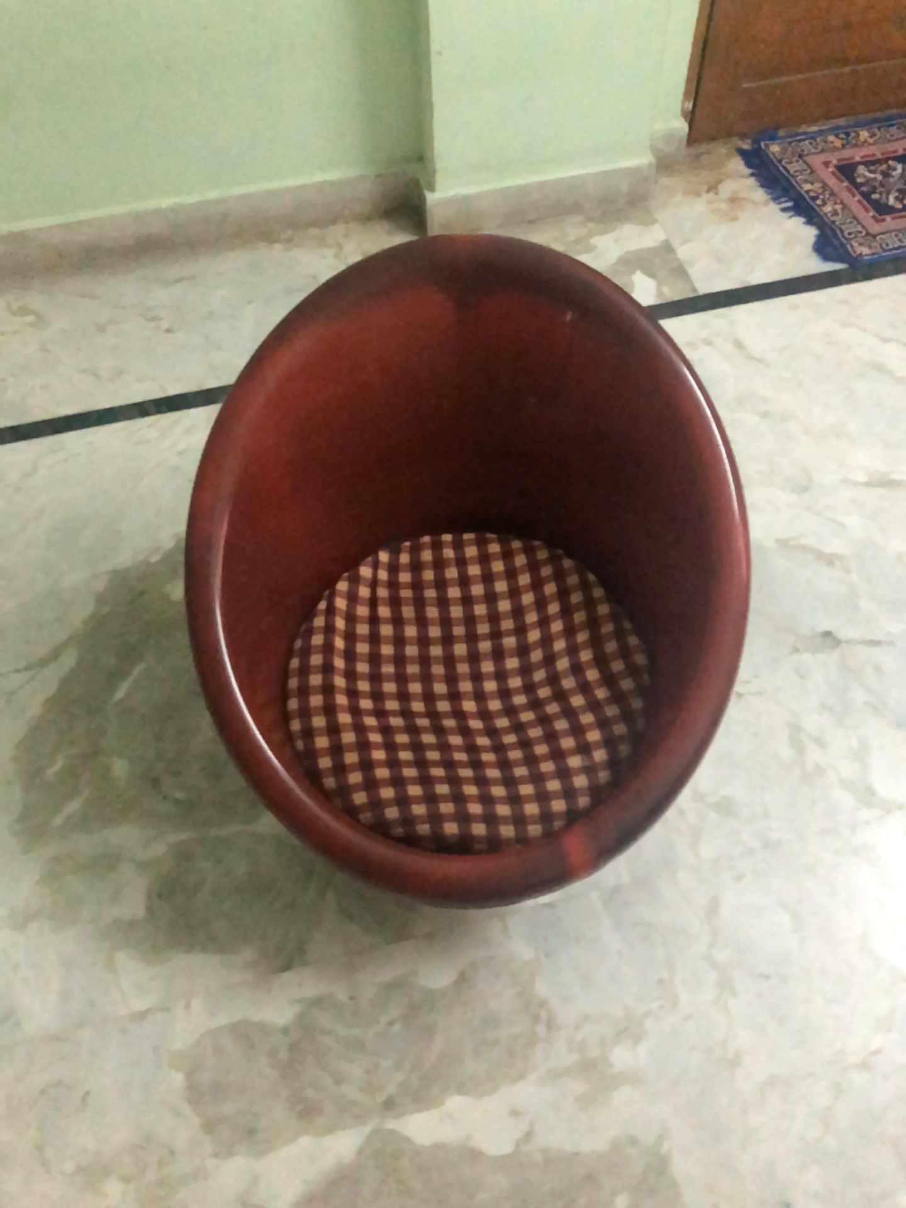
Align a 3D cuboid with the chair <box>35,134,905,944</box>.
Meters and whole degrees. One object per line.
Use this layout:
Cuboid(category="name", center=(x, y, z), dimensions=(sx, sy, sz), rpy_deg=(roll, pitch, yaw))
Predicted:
Cuboid(category="chair", center=(0.043, -0.055, 1.075), dimensions=(0.670, 0.547, 0.633), rpy_deg=(-3, 55, -1))
